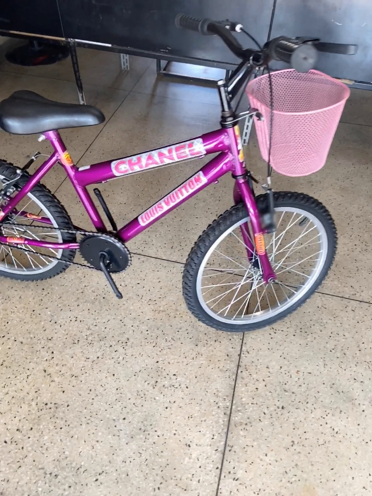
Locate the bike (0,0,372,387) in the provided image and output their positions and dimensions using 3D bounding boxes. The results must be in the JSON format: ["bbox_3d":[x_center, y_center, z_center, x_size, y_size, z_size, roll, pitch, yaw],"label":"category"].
[{"bbox_3d":[-0.183,-0.172,1.046,1.261,0.934,0.618,6,48,3],"label":"bike"}]
